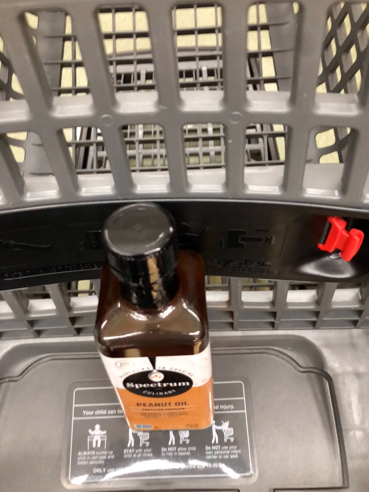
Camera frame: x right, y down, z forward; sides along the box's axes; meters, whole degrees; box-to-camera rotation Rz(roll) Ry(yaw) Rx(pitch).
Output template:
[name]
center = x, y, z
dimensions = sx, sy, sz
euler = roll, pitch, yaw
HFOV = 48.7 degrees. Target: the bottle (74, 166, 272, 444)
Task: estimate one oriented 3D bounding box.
[bottle]
center = -0.001, 0.052, 0.239
dimensions = 0.070, 0.191, 0.070
euler = -2, 51, 2
